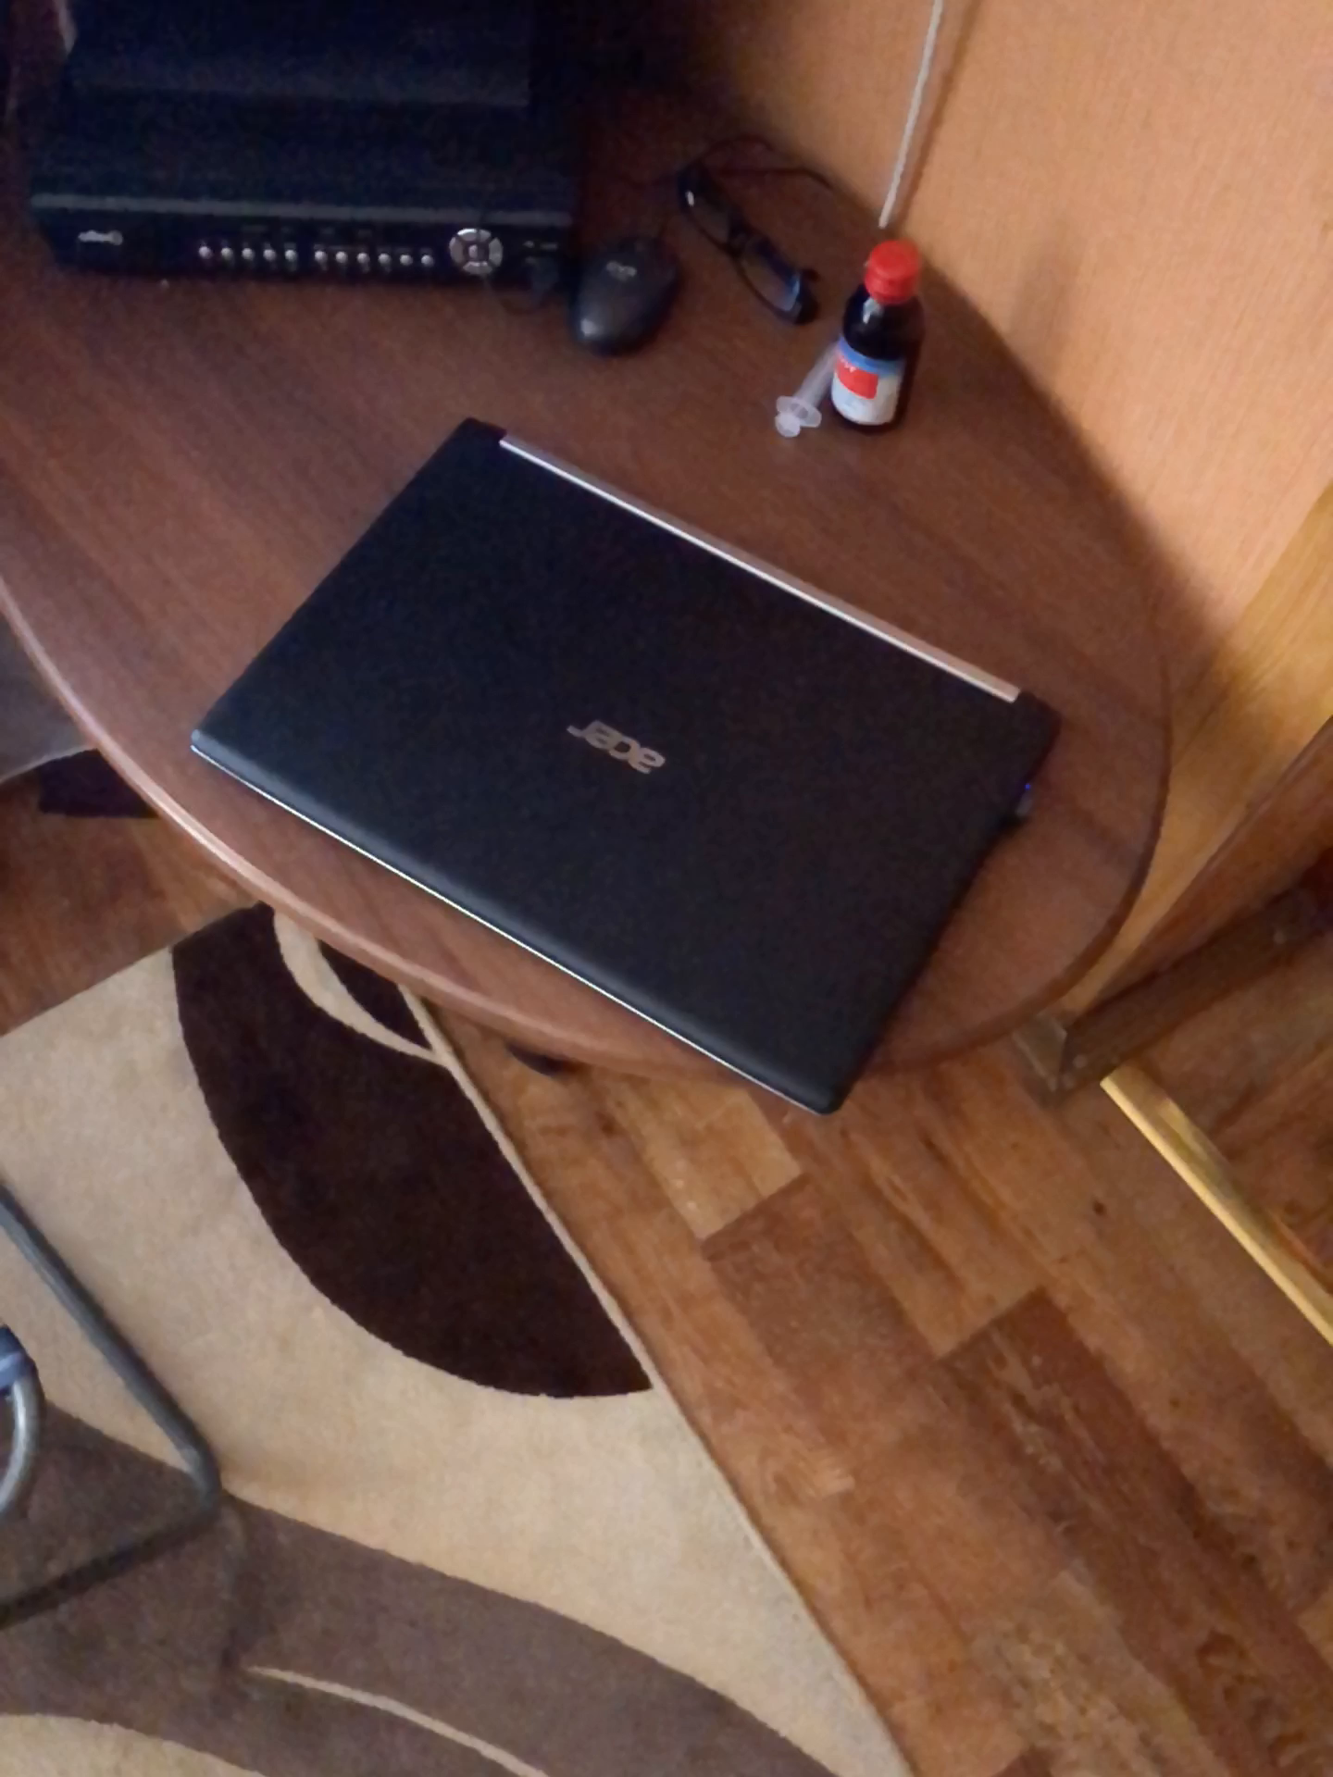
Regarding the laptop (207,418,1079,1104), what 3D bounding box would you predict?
[{"bbox_3d":[-0.009,-0.082,0.741,0.363,0.004,0.240,30,68,11],"label":"laptop"}]
